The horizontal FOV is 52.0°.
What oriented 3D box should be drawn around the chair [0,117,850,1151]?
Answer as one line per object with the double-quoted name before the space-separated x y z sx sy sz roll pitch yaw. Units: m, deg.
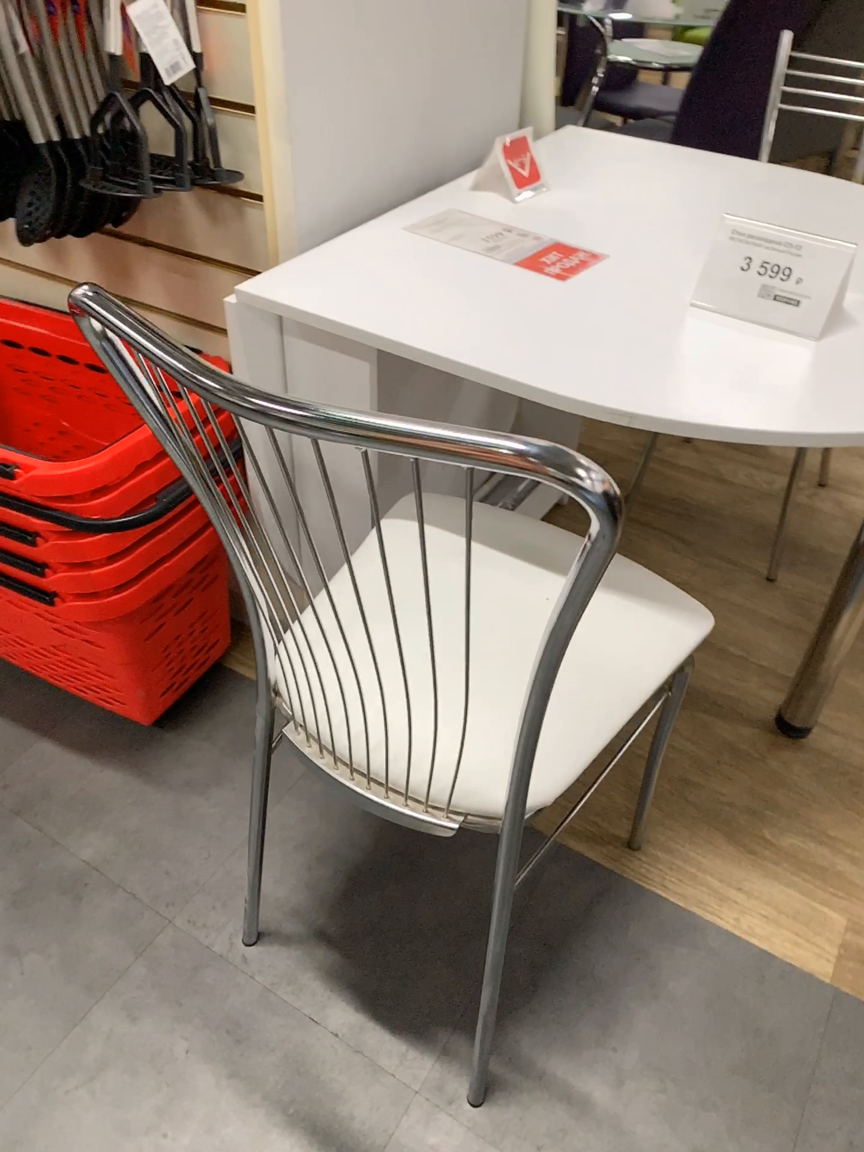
"chair" 0.013 0.110 0.976 0.451 0.955 0.552 22 45 22
